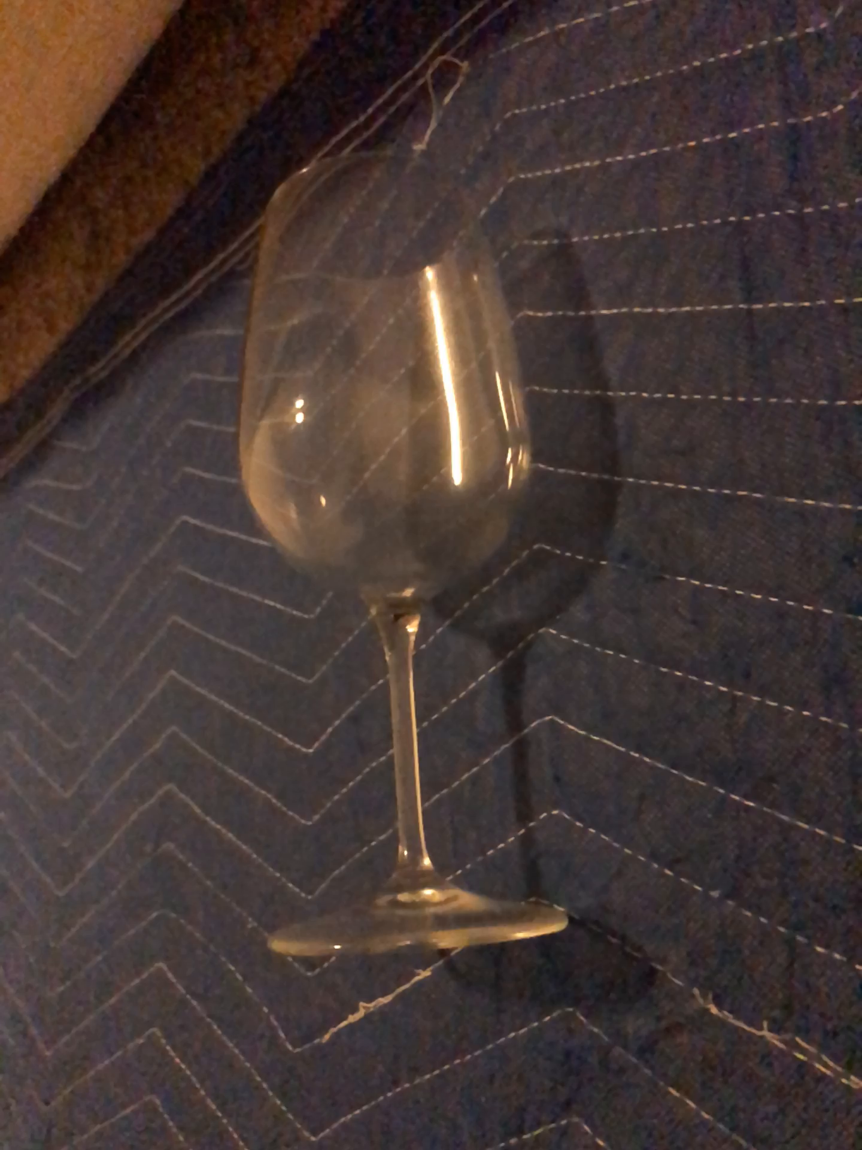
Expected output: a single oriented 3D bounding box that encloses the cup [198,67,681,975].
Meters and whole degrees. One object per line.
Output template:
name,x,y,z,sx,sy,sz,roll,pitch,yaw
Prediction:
cup,-0.004,-0.010,0.268,0.080,0.090,0.210,-20,67,46
